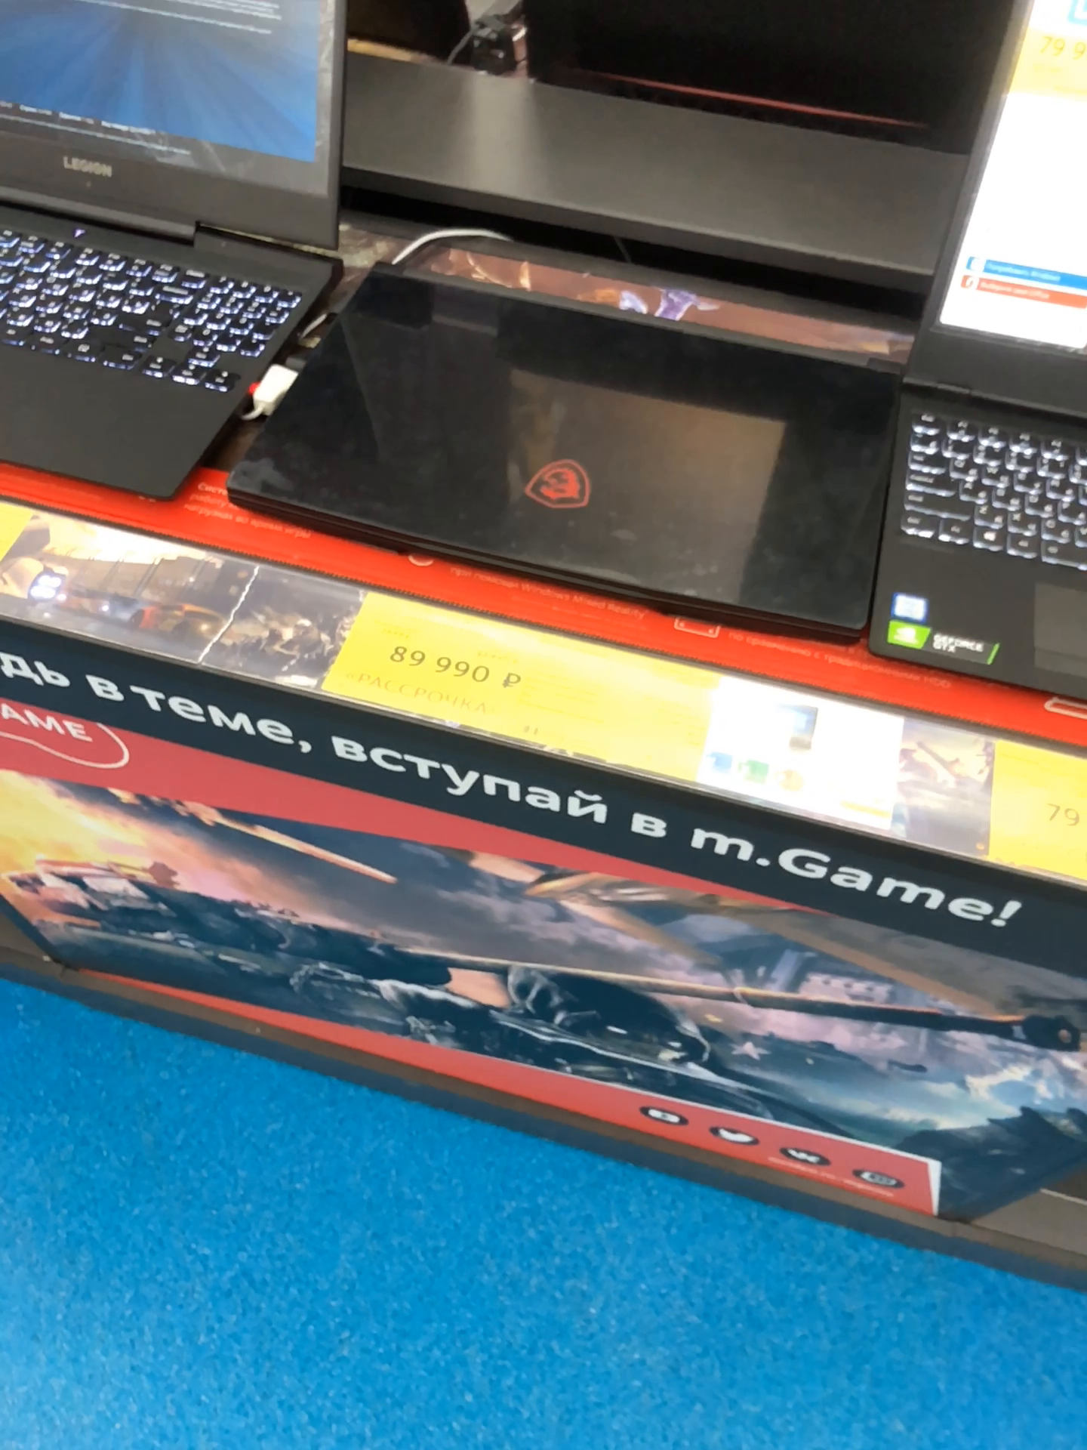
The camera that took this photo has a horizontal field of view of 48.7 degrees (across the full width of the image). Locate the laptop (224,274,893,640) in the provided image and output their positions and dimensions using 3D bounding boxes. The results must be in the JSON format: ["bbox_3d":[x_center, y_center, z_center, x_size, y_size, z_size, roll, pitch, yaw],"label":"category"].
[{"bbox_3d":[0.023,-0.174,0.713,0.353,0.002,0.239,13,51,8],"label":"laptop"}]
